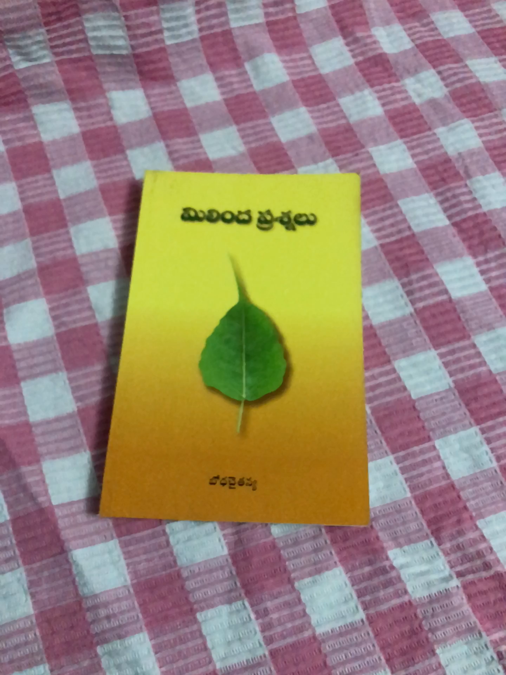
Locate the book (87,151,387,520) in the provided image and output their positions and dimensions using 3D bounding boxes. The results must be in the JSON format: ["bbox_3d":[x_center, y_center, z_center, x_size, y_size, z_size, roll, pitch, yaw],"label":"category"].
[{"bbox_3d":[-0.004,-0.012,0.332,0.150,0.020,0.220,2,69,1],"label":"book"}]
